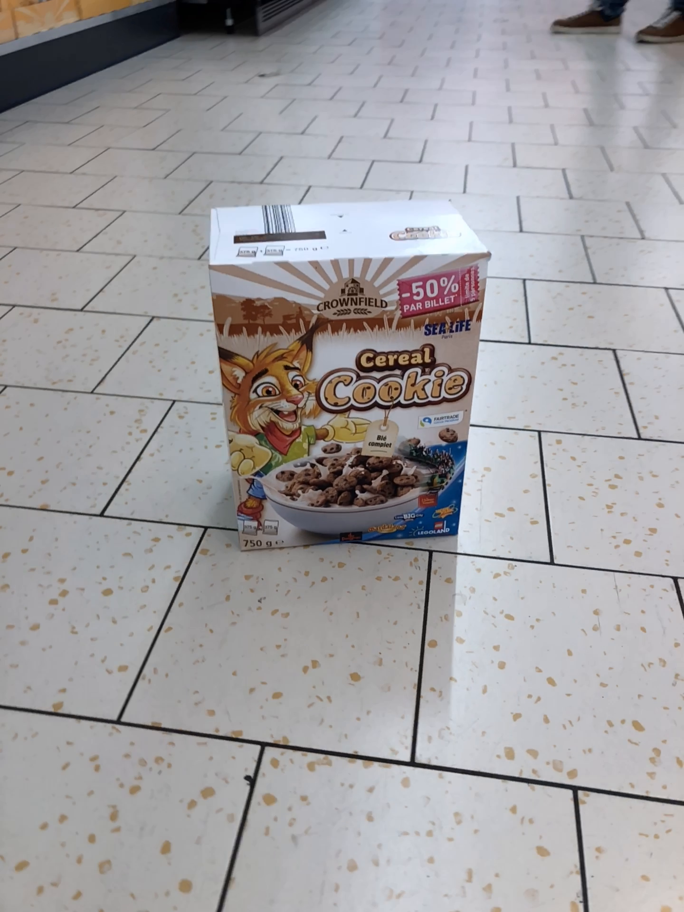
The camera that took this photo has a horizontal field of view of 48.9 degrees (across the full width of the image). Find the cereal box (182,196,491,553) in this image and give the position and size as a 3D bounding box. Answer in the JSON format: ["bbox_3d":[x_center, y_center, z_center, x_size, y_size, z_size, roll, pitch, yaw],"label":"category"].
[{"bbox_3d":[-0.008,-0.063,0.606,0.200,0.248,0.121,-3,35,-5],"label":"cereal box"}]
